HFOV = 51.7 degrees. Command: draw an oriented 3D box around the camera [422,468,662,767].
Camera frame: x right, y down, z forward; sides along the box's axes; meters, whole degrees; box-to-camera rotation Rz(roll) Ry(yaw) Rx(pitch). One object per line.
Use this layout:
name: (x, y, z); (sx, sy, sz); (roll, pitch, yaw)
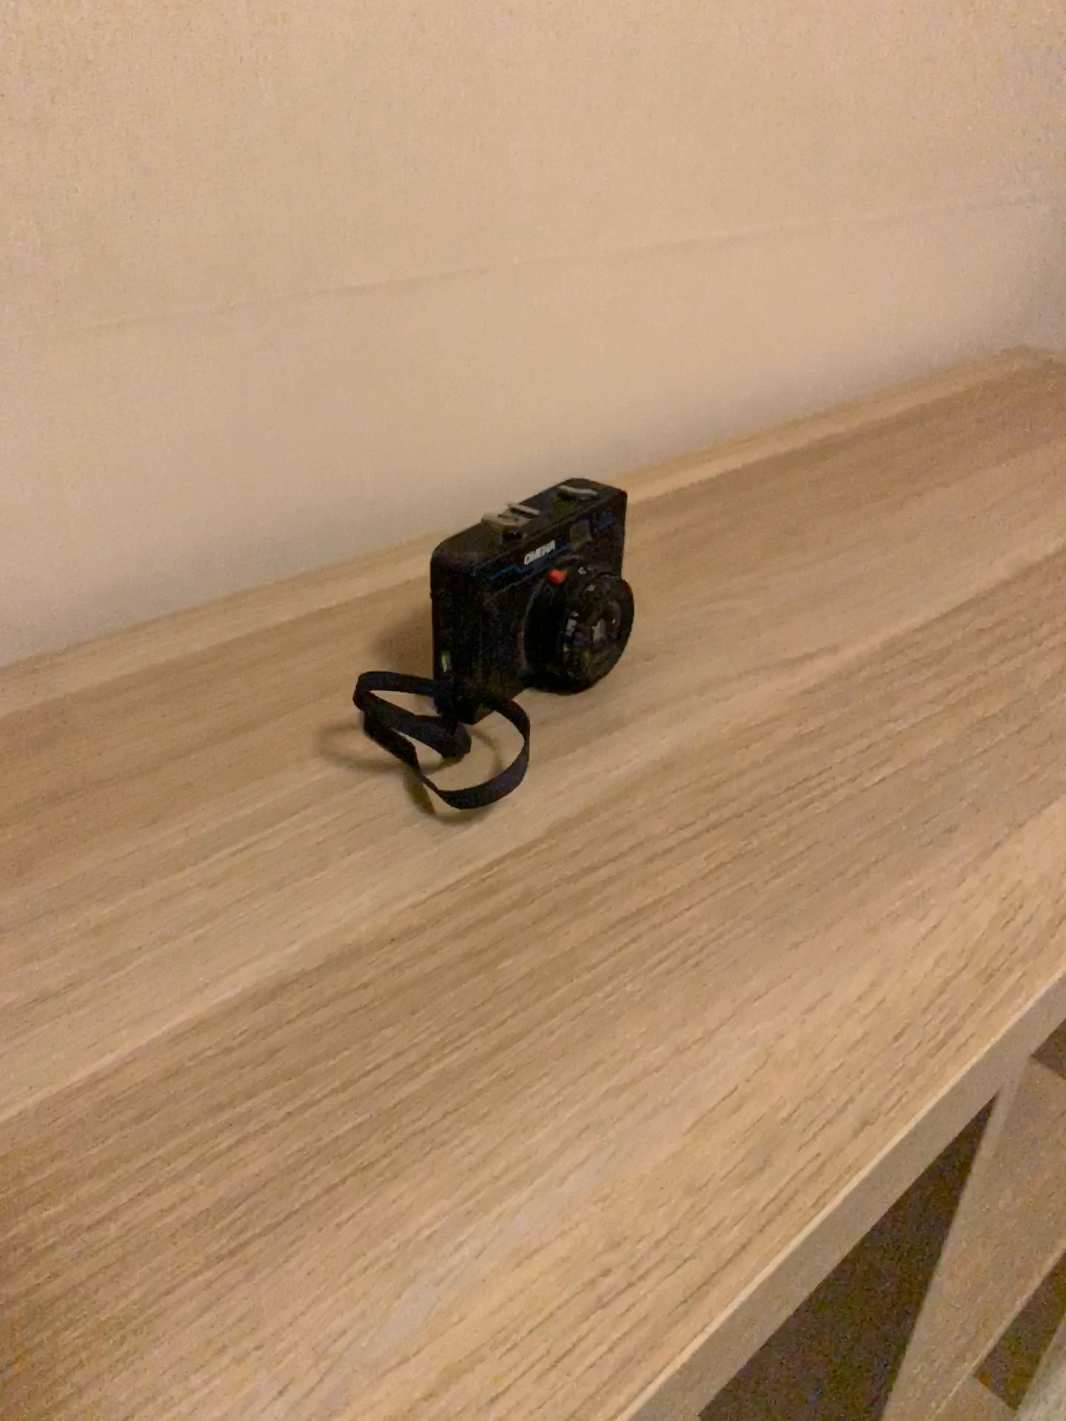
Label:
camera: (0.005, -0.044, 0.478); (0.040, 0.089, 0.111); (25, 38, 29)
